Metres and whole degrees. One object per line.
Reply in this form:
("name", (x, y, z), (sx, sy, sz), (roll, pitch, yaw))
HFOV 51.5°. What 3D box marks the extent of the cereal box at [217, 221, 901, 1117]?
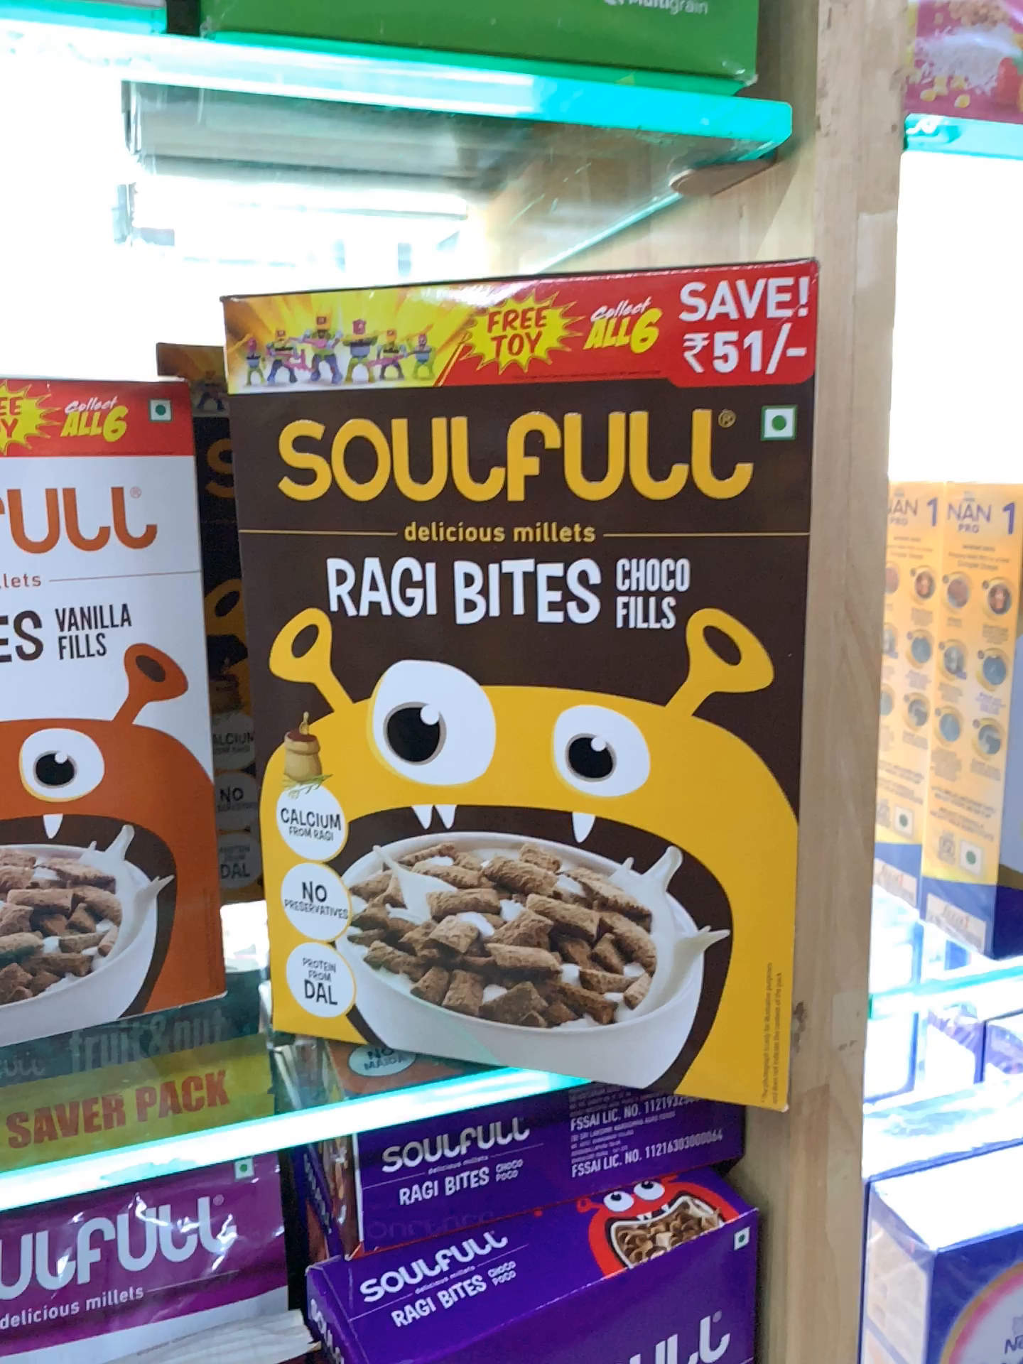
("cereal box", (0.015, -0.004, 0.335), (0.190, 0.239, 0.060), (3, 12, 18))
